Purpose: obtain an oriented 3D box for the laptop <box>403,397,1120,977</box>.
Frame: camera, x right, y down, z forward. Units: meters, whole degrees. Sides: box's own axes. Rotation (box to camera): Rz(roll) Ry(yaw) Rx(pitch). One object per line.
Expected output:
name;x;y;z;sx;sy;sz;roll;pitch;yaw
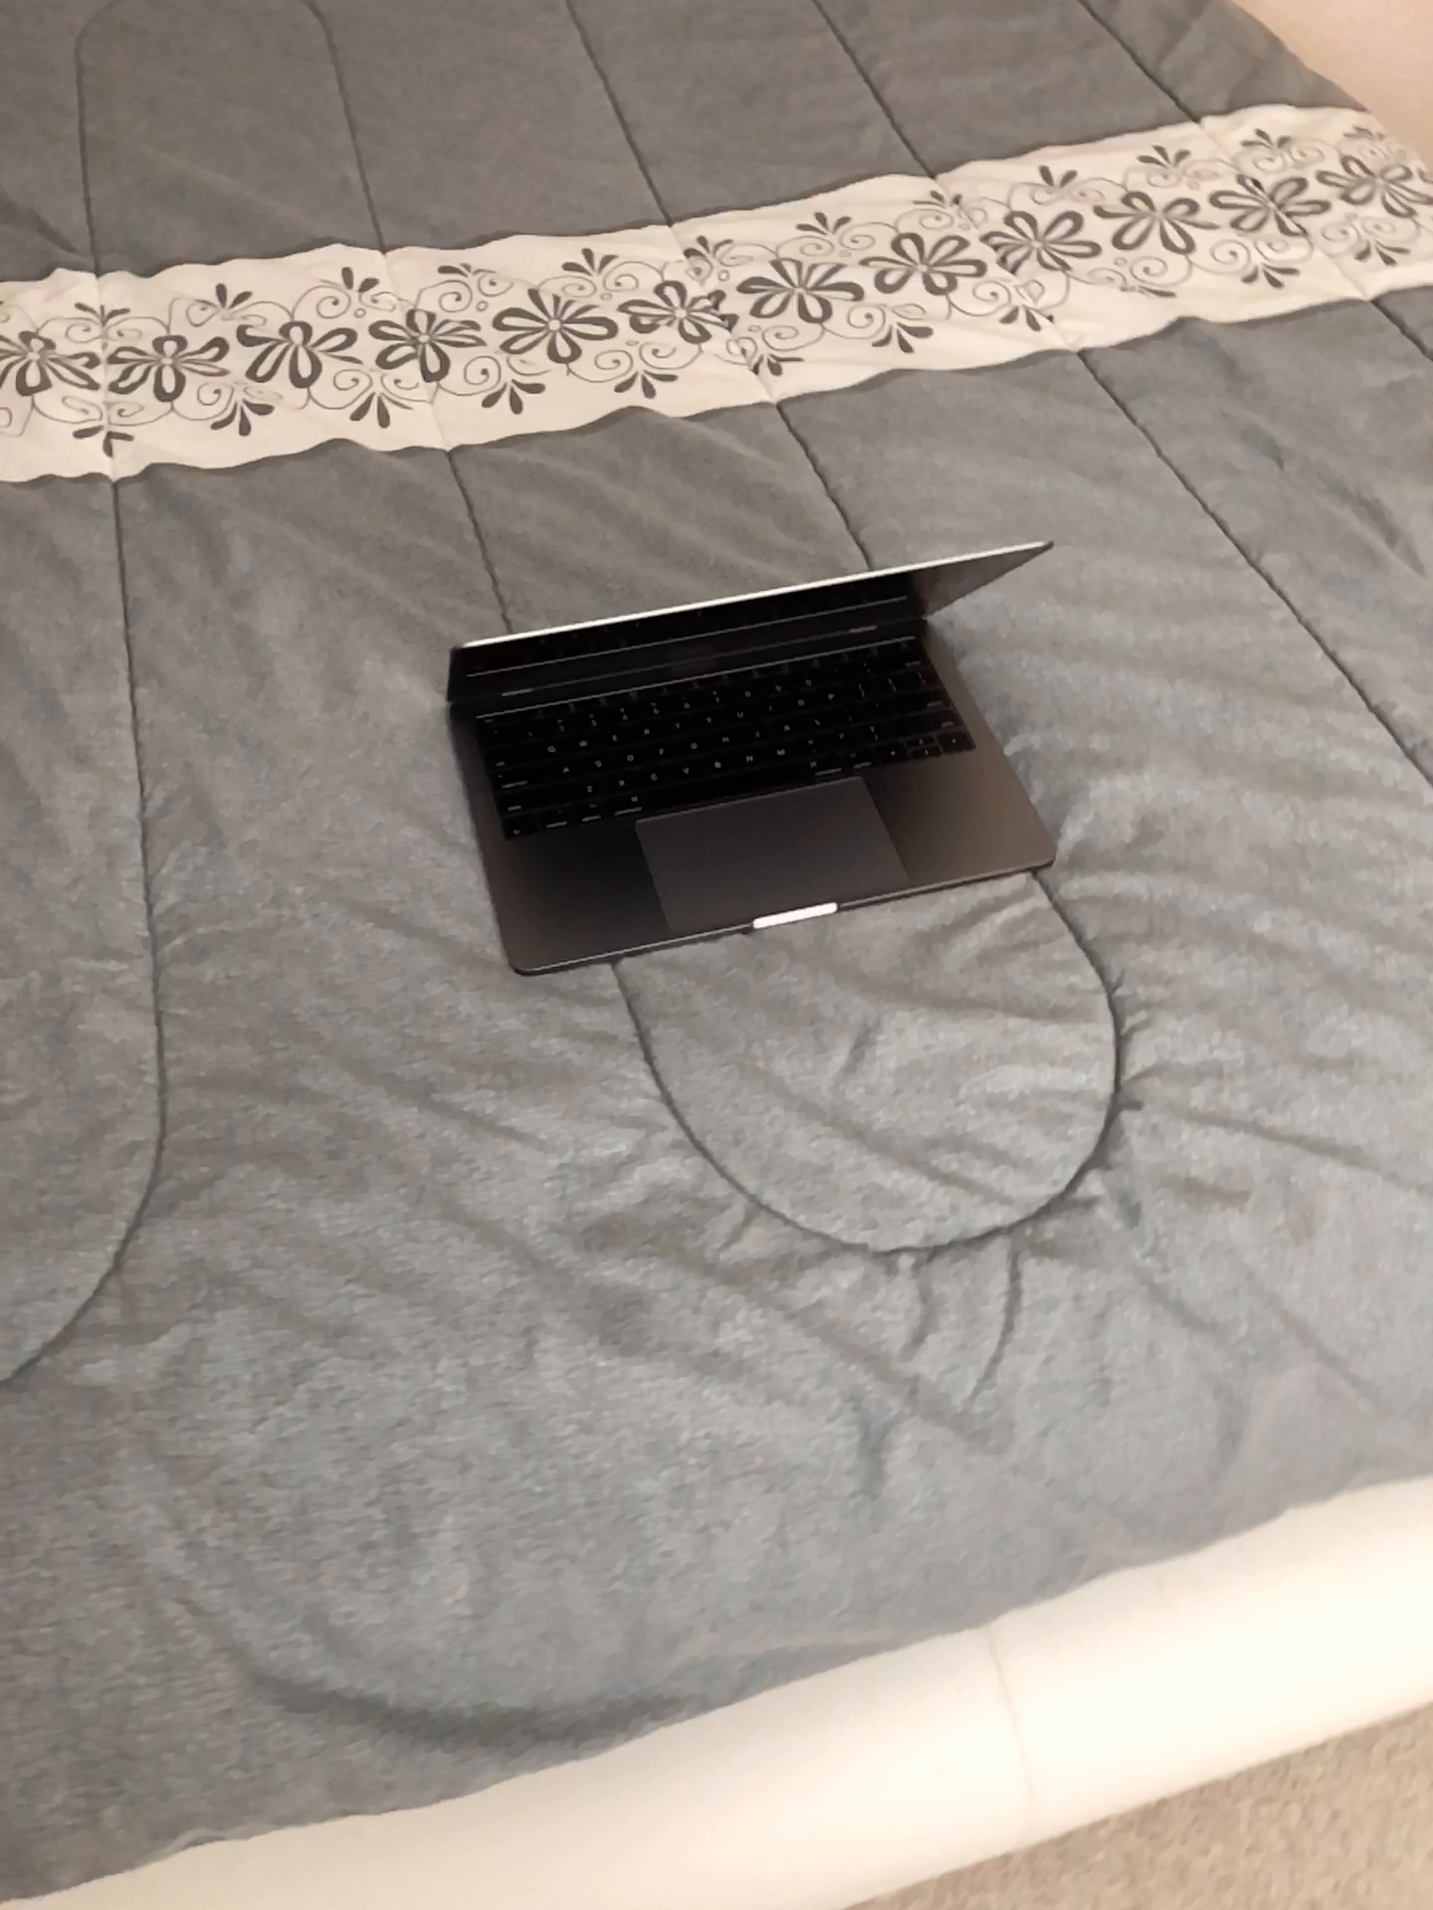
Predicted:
laptop;0.012;-0.135;0.767;0.278;0.140;0.195;-13;52;-9
